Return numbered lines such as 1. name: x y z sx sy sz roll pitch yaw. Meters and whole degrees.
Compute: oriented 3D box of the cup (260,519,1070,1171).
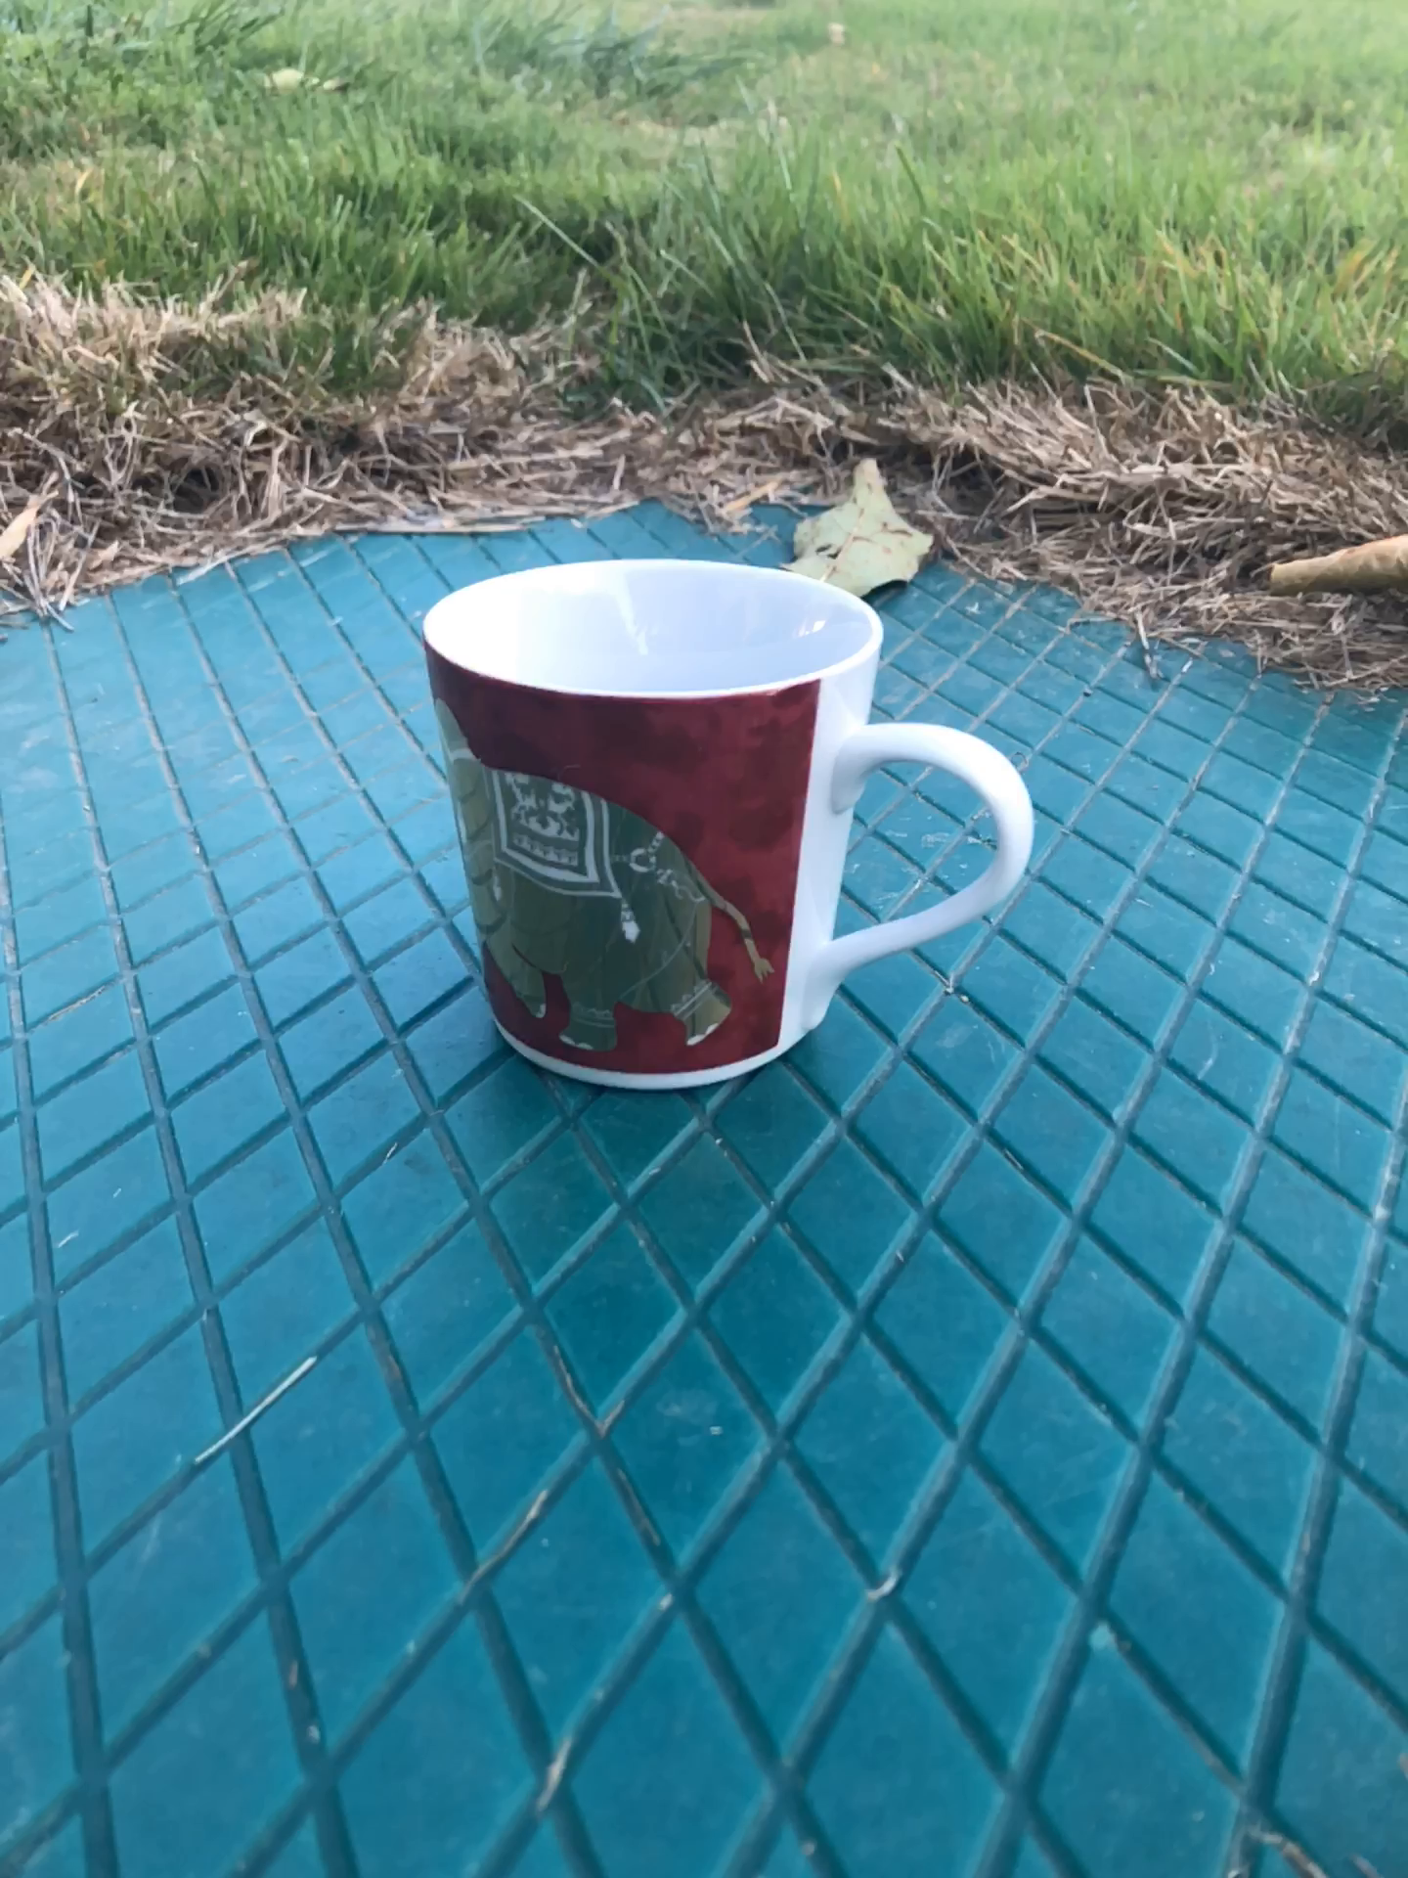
1. cup: -0.003 -0.025 0.275 0.110 0.070 0.082 13 31 23
